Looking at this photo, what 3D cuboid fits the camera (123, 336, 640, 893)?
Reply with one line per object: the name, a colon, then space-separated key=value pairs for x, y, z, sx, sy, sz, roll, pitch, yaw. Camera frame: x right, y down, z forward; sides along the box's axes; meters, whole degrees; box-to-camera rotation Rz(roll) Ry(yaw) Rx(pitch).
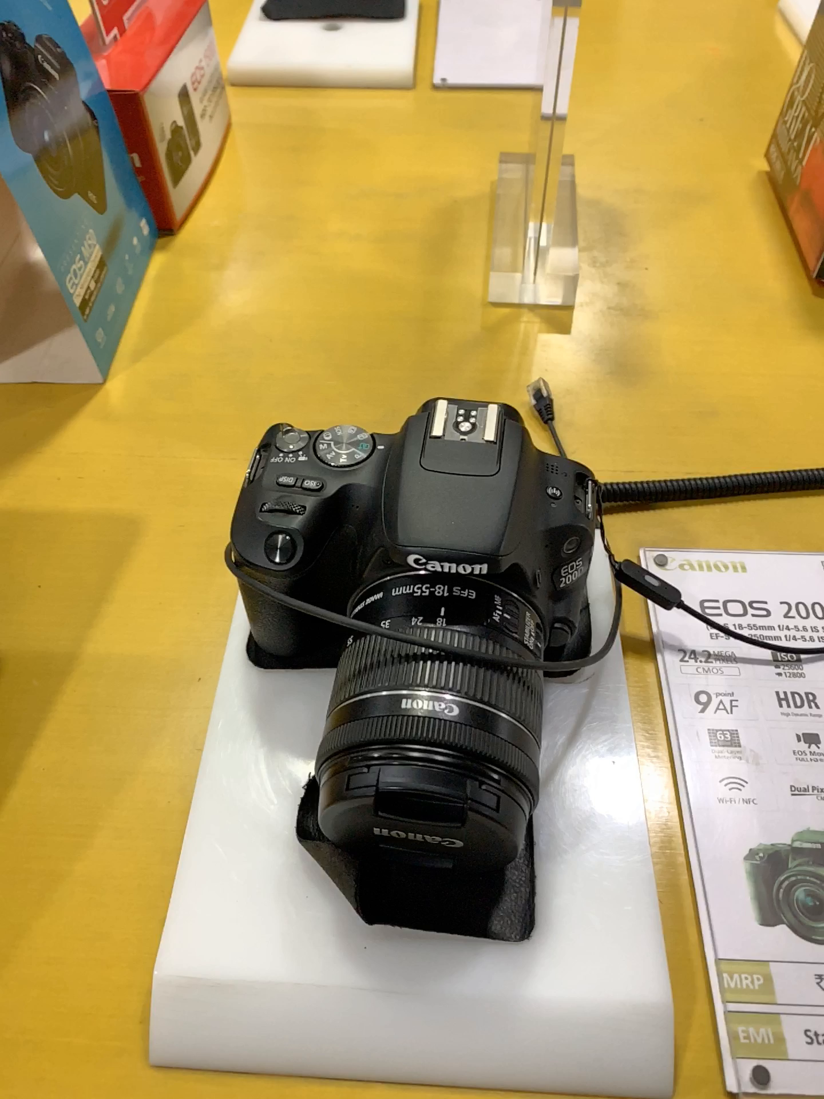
camera: x=0.000 y=0.011 z=0.274 sx=0.120 sy=0.070 sz=0.160 roll=4 pitch=50 yaw=4
